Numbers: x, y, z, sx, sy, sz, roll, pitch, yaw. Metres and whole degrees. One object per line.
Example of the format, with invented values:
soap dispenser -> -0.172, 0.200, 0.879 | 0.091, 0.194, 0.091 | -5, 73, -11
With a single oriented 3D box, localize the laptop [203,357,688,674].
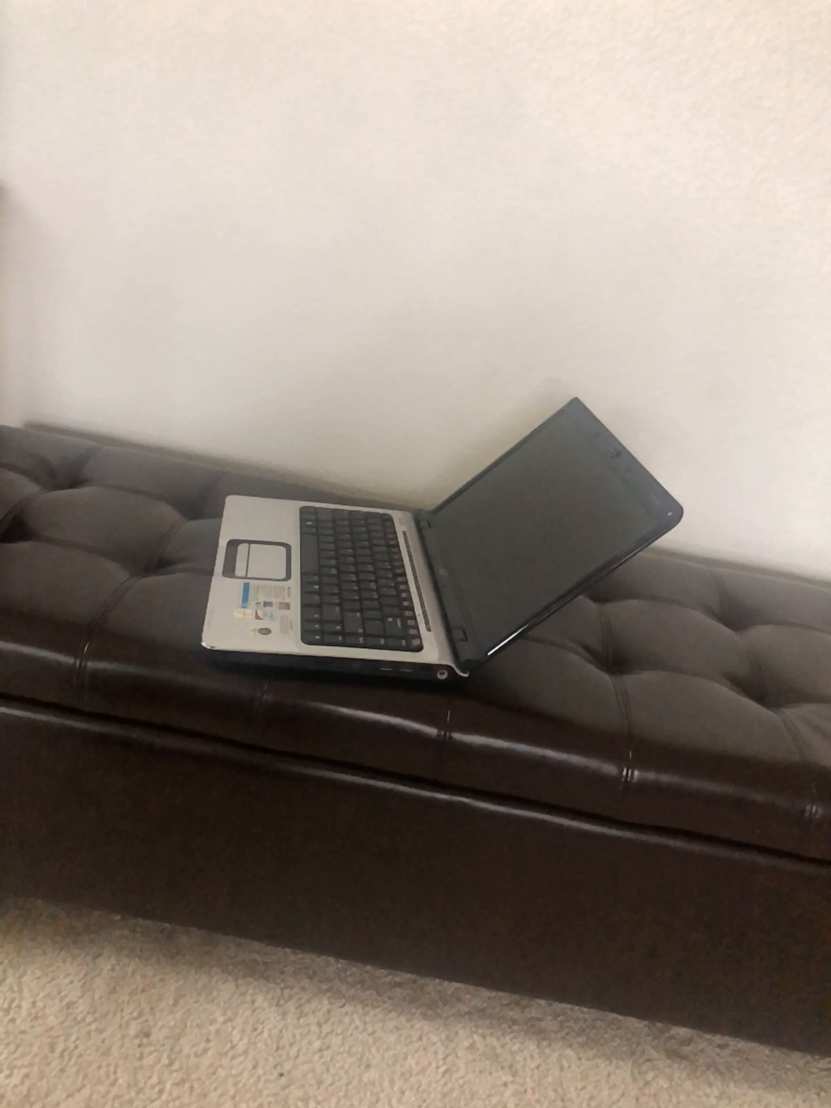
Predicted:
laptop -> 0.006, -0.052, 0.899 | 0.381, 0.161, 0.327 | 5, 25, -11
